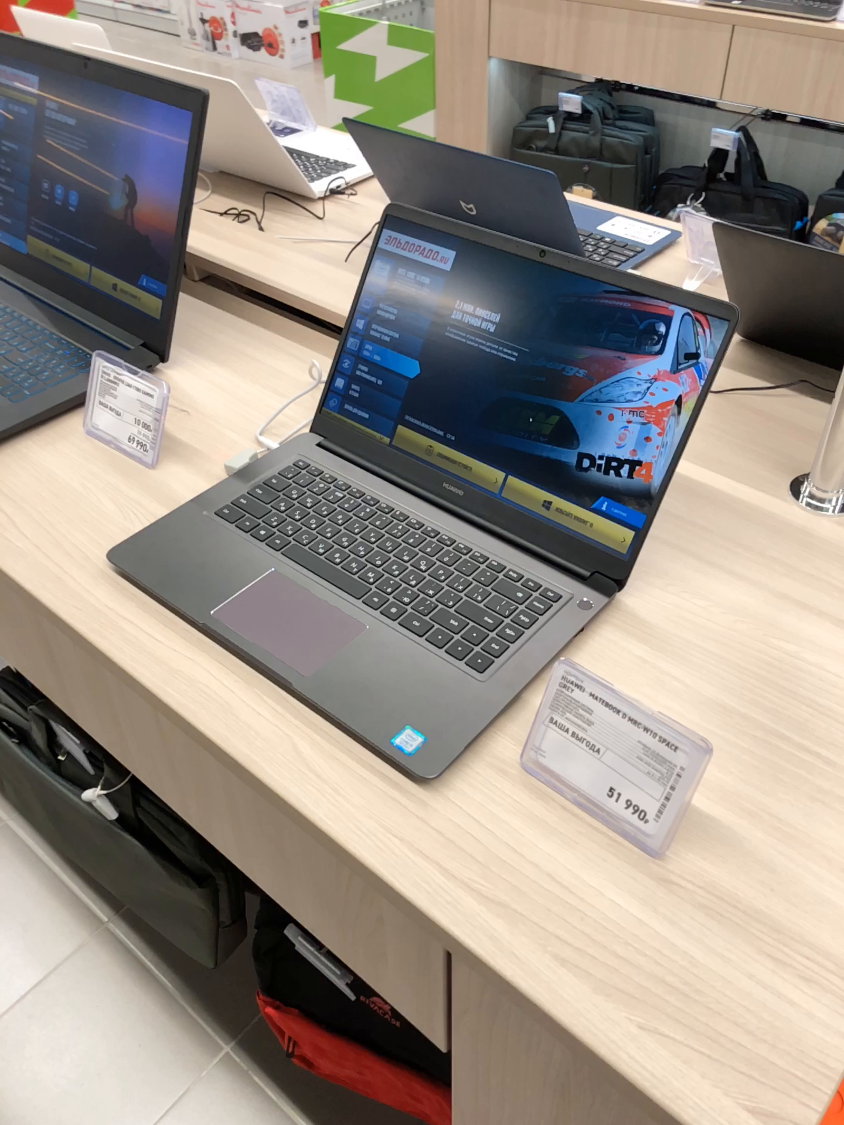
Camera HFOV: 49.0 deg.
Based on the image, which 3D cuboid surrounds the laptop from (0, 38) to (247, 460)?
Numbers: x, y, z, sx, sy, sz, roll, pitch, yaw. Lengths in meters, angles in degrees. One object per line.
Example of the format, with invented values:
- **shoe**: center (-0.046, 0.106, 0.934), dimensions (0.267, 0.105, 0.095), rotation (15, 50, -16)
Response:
- **laptop**: center (-0.480, -0.362, 0.985), dimensions (0.393, 0.242, 0.379), rotation (31, 50, 32)

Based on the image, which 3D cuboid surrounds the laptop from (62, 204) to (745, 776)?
- **laptop**: center (-0.007, -0.096, 0.724), dimensions (0.345, 0.180, 0.359), rotation (28, 50, 30)
